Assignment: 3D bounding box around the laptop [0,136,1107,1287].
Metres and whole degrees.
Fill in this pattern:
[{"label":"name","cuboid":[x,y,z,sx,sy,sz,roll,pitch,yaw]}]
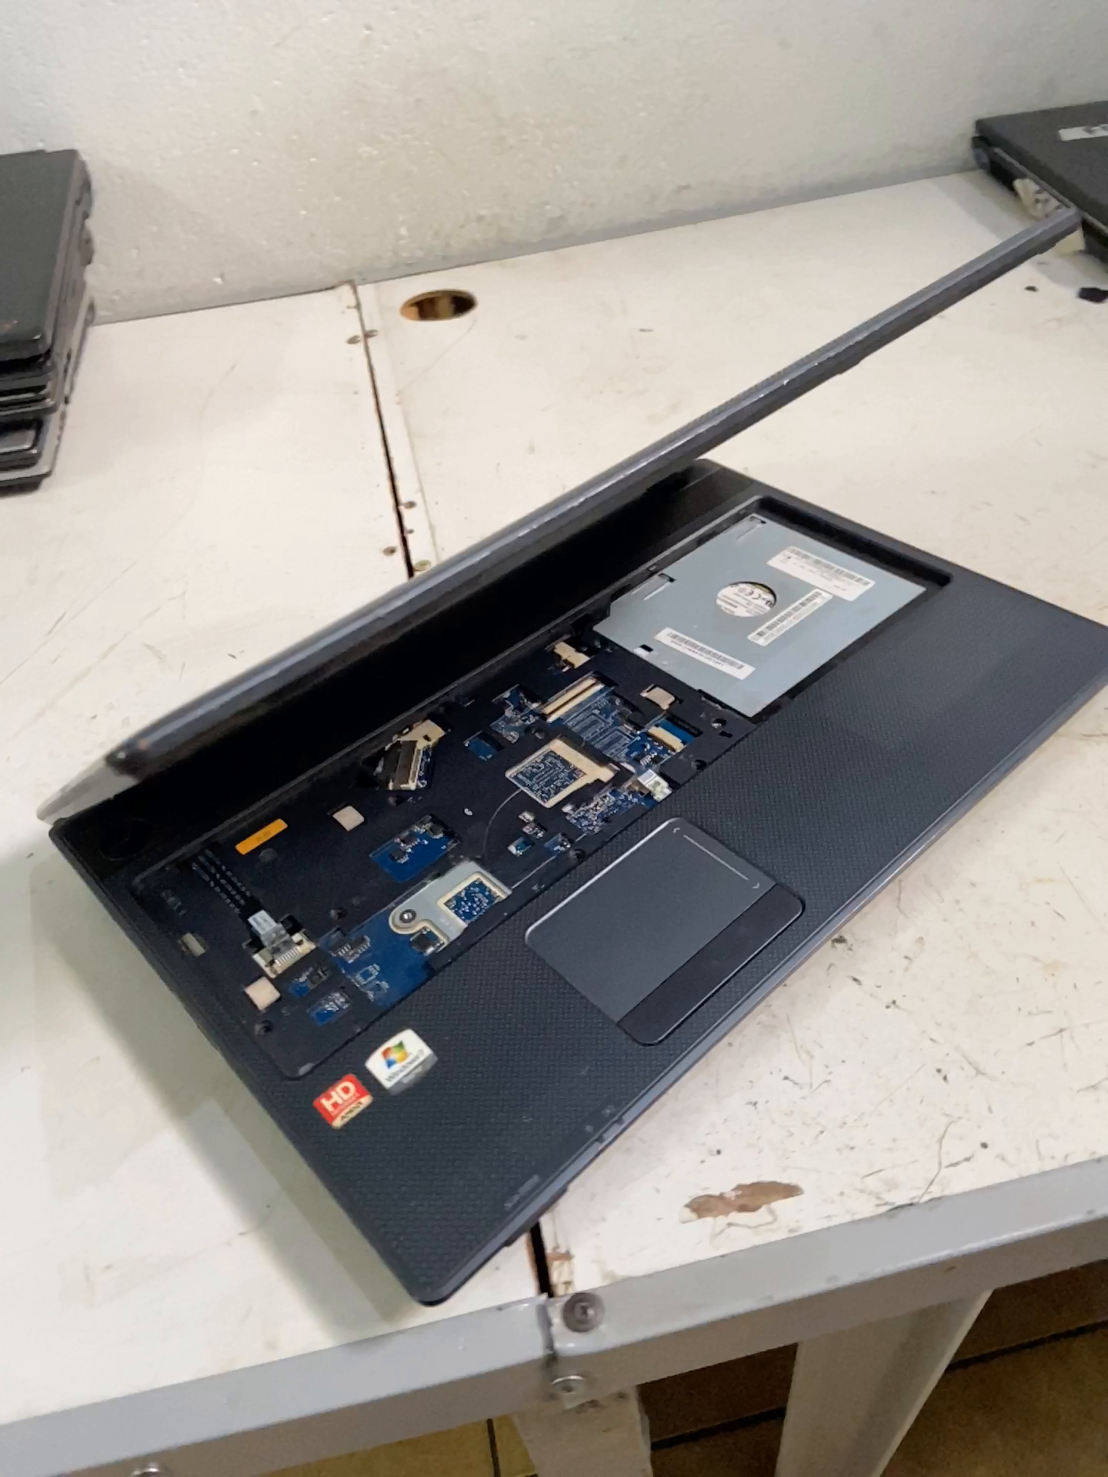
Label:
[{"label":"laptop","cuboid":[0.020,-0.061,0.398,0.371,0.156,0.240,-34,48,-26]}]
